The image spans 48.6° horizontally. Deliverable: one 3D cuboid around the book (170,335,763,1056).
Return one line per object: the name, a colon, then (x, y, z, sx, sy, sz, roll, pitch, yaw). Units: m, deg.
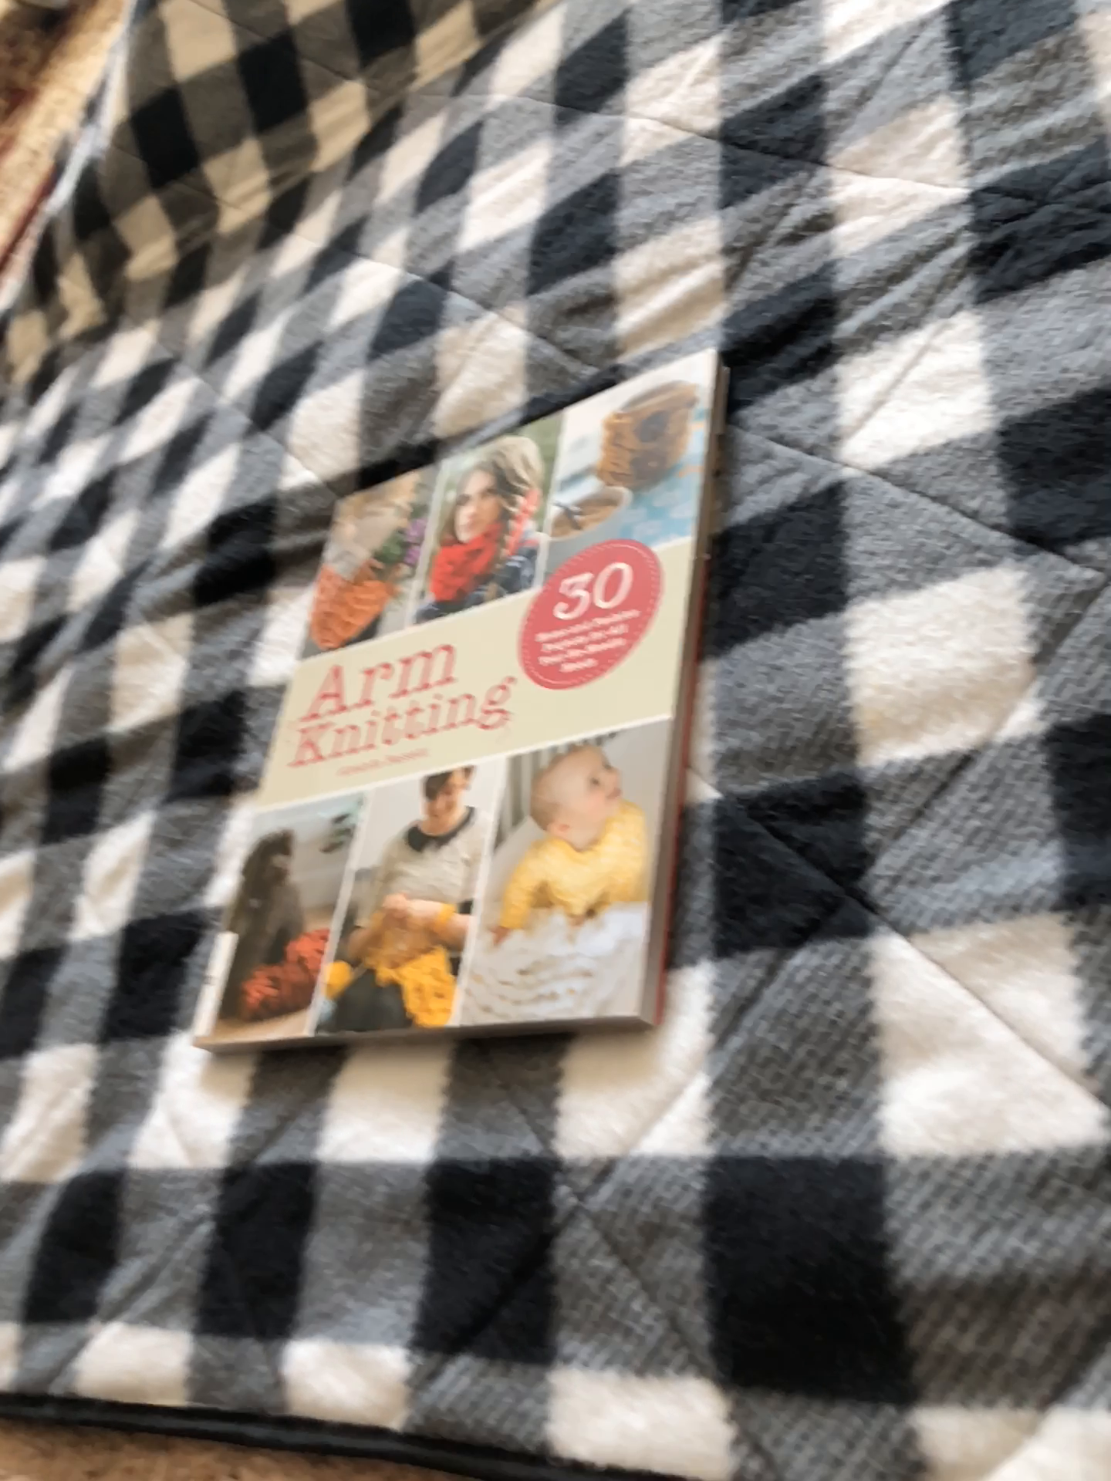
book: (-0.030, -0.013, 0.427, 0.197, 0.020, 0.238, -12, 54, 36)
